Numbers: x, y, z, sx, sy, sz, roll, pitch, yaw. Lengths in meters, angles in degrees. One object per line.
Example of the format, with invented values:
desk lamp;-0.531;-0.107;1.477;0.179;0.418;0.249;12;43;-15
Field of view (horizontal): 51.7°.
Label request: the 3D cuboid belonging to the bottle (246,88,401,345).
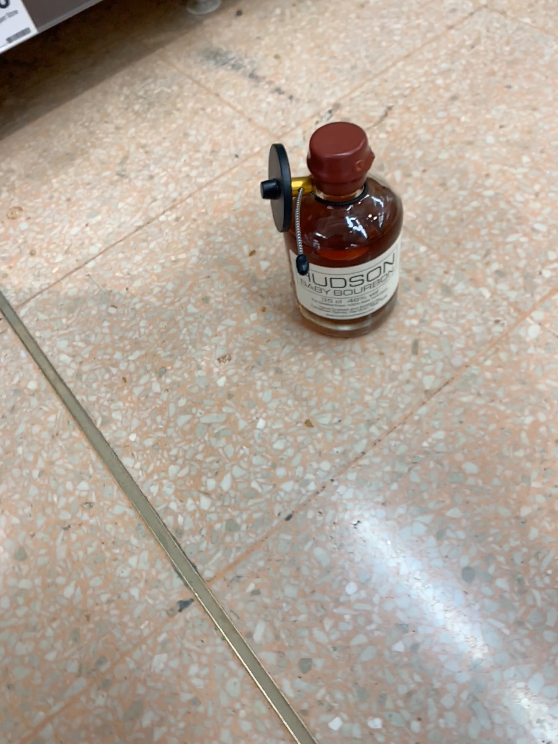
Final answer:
bottle;0.031;-0.093;0.380;0.075;0.142;0.073;-4;59;7
